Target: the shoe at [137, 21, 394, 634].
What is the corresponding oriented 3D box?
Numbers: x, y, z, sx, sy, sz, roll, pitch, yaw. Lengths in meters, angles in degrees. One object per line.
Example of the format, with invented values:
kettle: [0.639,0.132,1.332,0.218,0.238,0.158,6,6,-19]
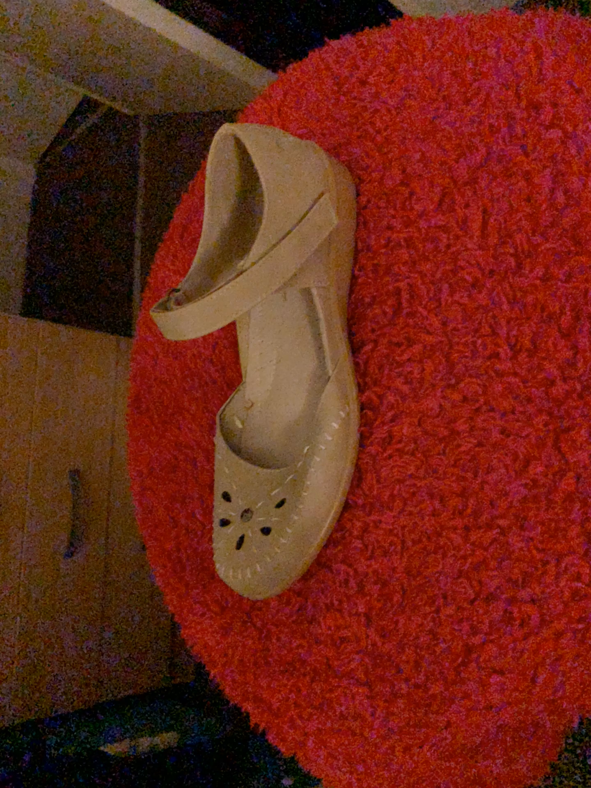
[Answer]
shoe: [-0.017,-0.034,0.361,0.096,0.079,0.306,1,83,48]
